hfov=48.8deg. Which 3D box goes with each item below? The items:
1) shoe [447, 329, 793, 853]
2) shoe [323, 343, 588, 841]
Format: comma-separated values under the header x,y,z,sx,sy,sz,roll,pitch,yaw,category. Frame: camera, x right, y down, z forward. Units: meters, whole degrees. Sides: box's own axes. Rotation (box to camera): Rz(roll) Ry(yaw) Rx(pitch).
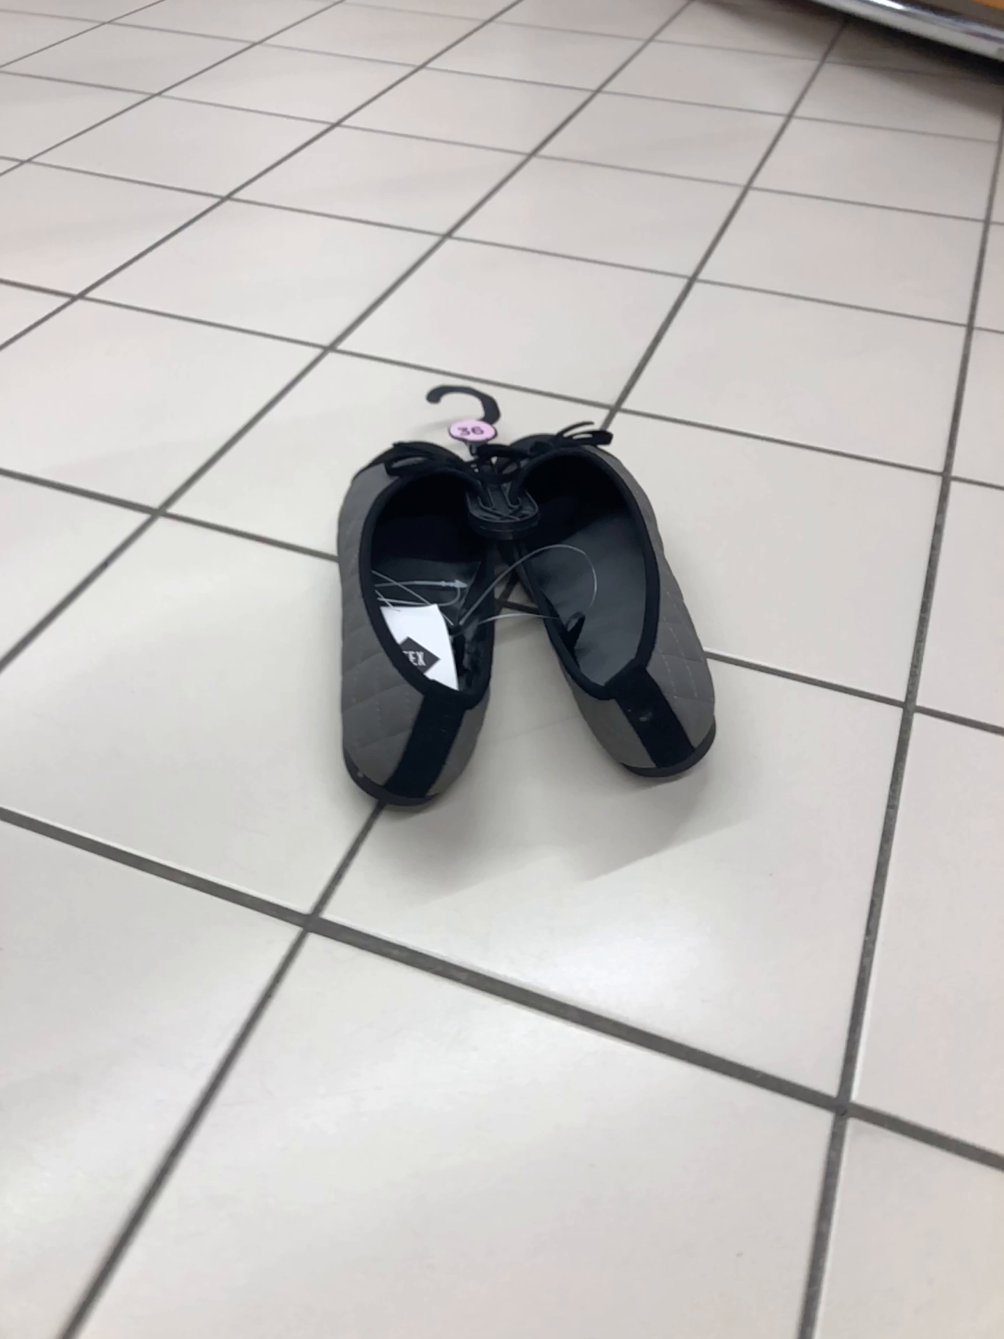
x,y,z,sx,sy,sz,roll,pitch,yaw,category
0.043,-0.048,0.501,0.078,0.081,0.243,-22,44,8,shoe
-0.033,-0.047,0.500,0.078,0.080,0.243,7,41,-16,shoe
